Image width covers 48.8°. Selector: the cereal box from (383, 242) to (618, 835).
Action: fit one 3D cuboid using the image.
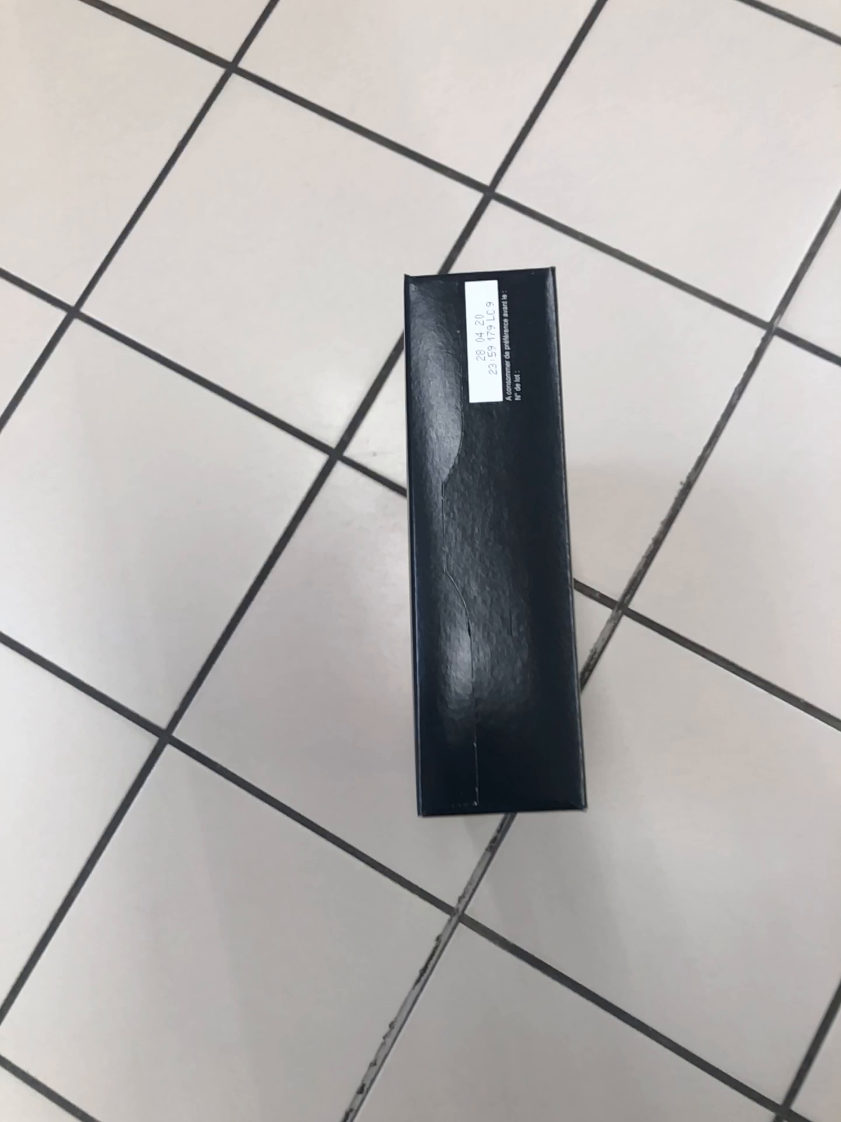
[{"bbox_3d":[0.033,0.009,0.433,0.070,0.250,0.200,-2,80,3],"label":"cereal box"}]
